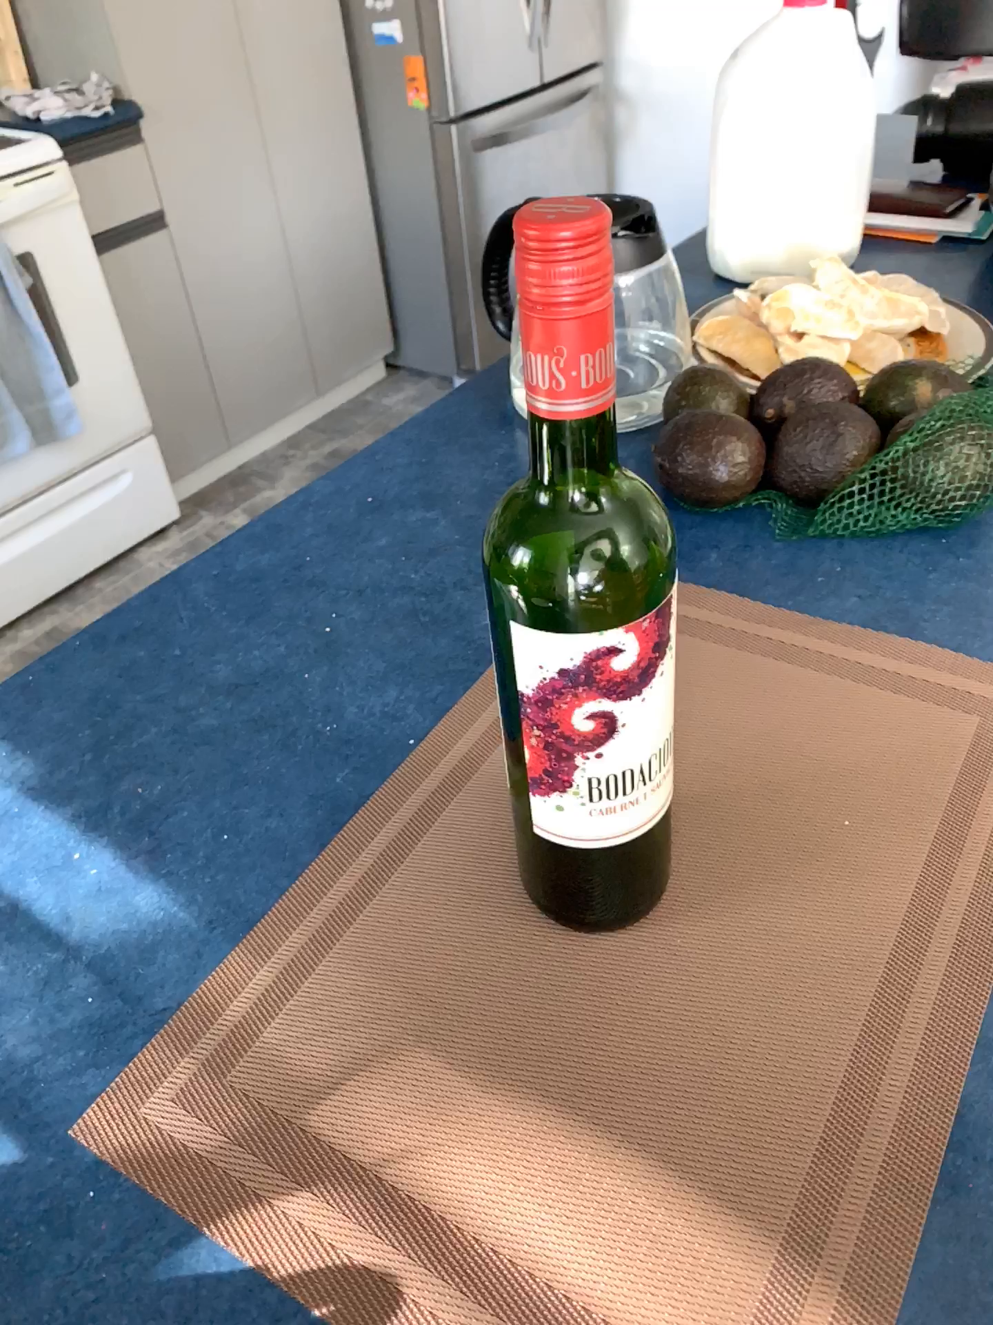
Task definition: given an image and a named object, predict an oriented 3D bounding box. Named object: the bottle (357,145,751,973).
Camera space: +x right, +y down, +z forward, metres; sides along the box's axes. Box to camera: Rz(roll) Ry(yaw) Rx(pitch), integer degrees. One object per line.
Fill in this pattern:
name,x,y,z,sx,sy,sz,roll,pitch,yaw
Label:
bottle,0.029,-0.019,0.386,0.080,0.297,0.080,-4,39,3
